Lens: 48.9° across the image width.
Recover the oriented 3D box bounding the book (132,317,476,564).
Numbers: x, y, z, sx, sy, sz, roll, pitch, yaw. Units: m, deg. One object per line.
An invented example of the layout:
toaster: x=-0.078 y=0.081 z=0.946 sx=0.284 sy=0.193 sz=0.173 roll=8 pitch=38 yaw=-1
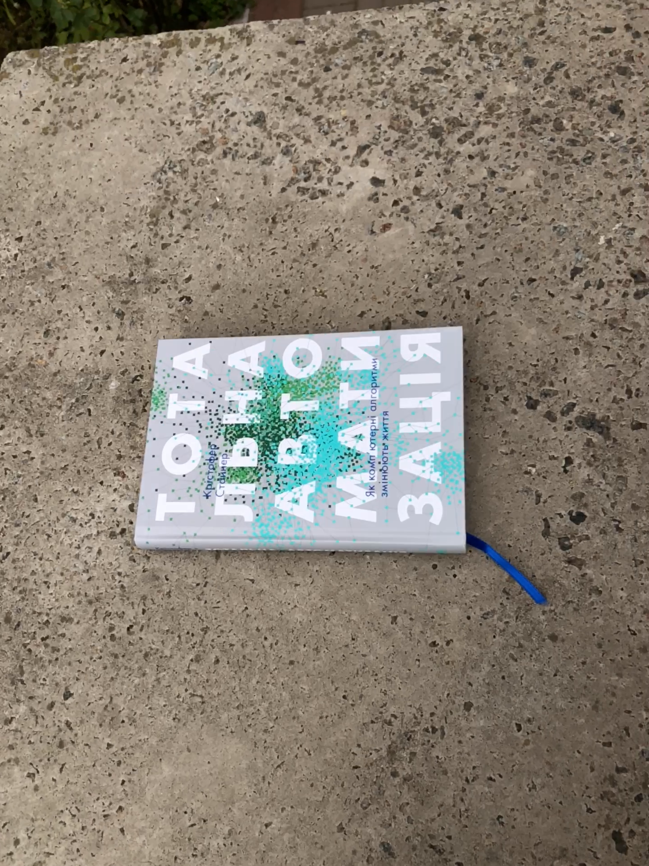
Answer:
book: x=-0.013 y=0.007 z=0.481 sx=0.221 sy=0.030 sz=0.156 roll=-2 pitch=73 yaw=12
